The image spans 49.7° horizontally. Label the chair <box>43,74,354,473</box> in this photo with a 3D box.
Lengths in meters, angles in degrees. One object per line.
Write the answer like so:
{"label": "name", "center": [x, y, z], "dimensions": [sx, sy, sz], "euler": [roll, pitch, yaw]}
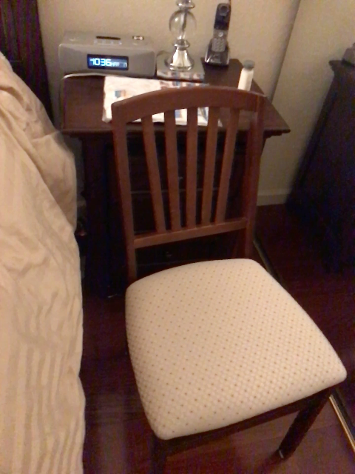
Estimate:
{"label": "chair", "center": [0.068, 0.219, 1.071], "dimensions": [0.621, 1.032, 0.693], "euler": [-12, 47, -20]}
